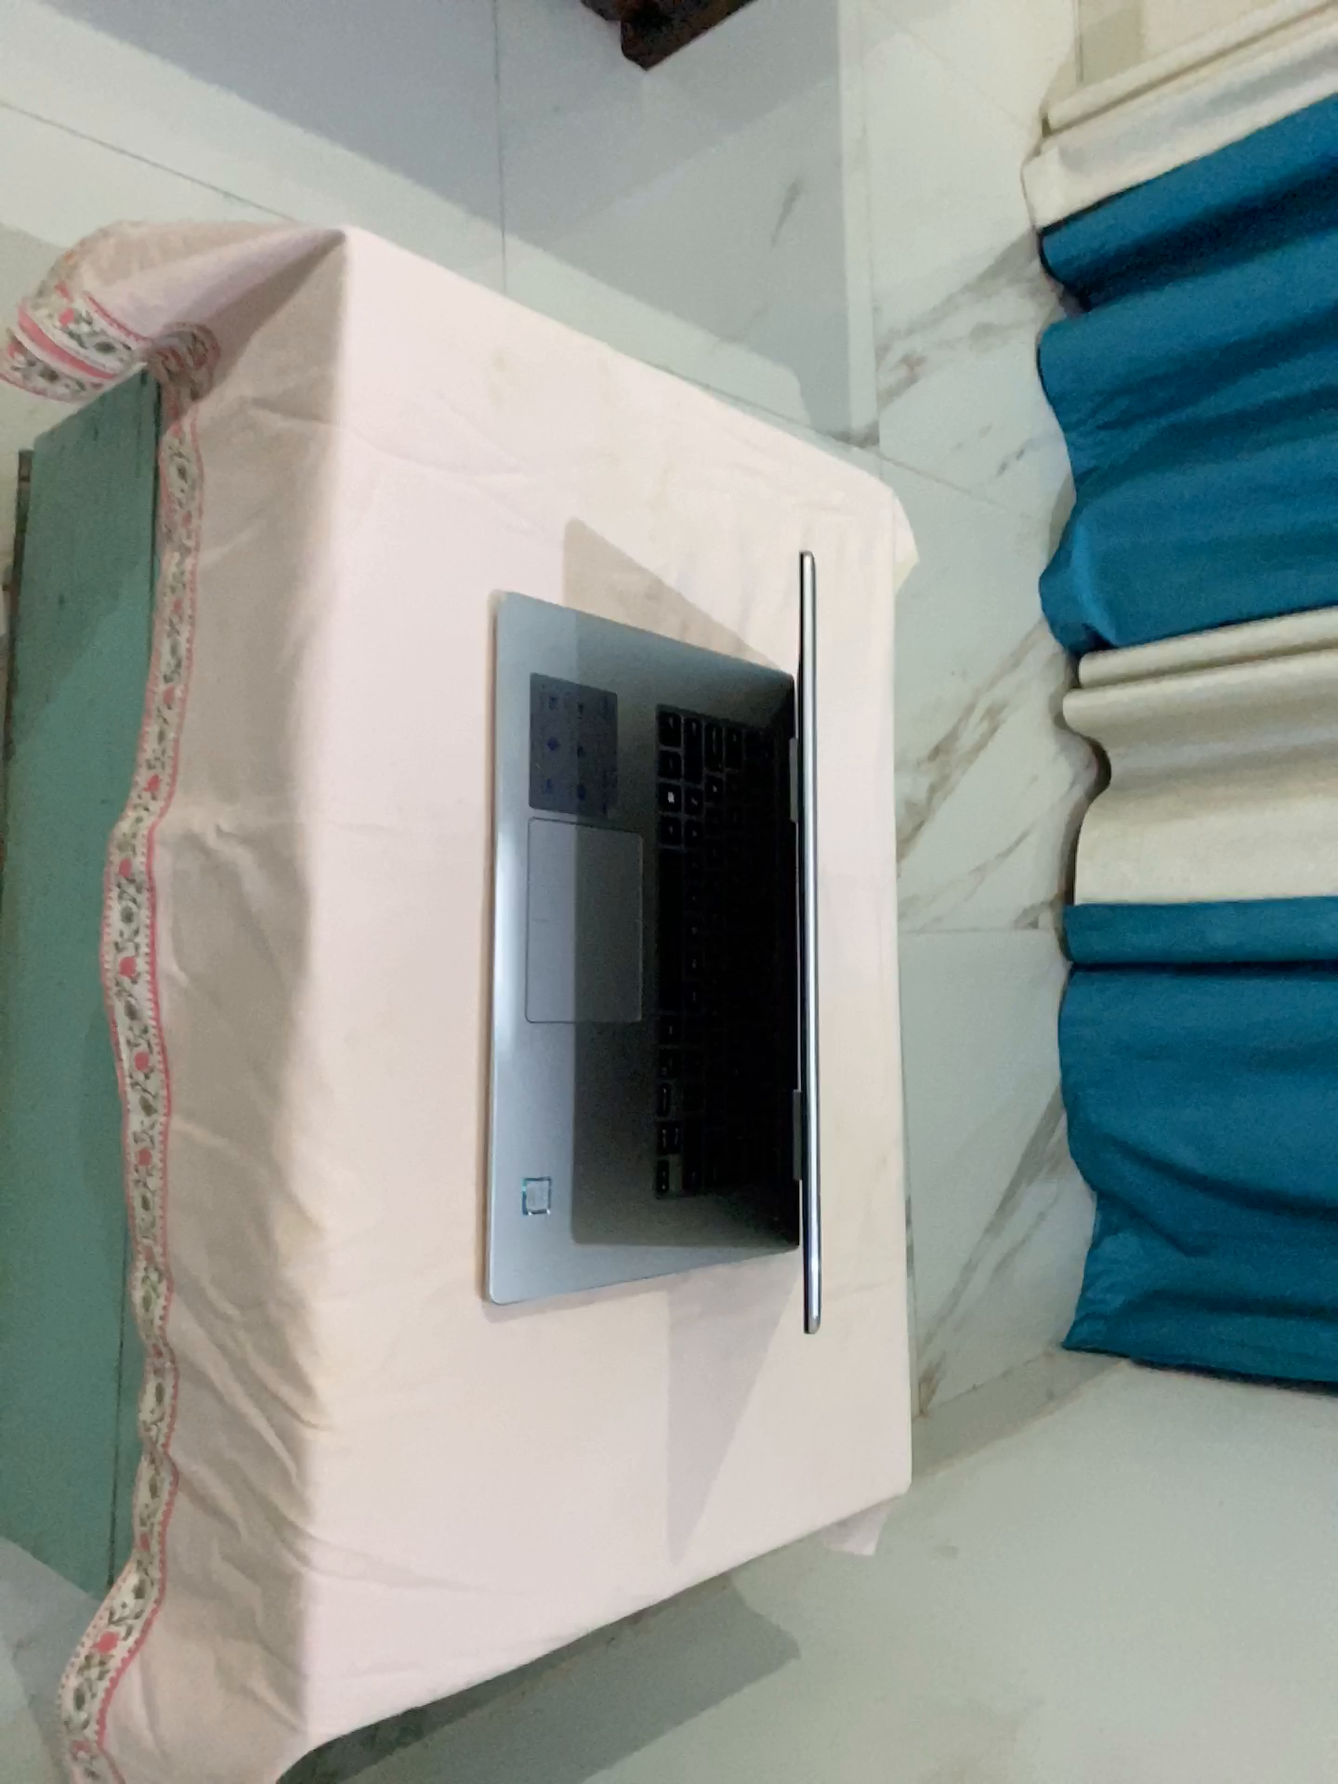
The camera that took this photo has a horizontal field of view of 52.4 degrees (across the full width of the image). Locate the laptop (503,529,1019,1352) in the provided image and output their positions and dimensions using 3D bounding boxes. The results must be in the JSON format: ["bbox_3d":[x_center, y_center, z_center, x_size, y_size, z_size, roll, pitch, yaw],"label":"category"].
[{"bbox_3d":[0.053,0.029,0.709,0.236,0.148,0.347,5,83,-46],"label":"laptop"}]
